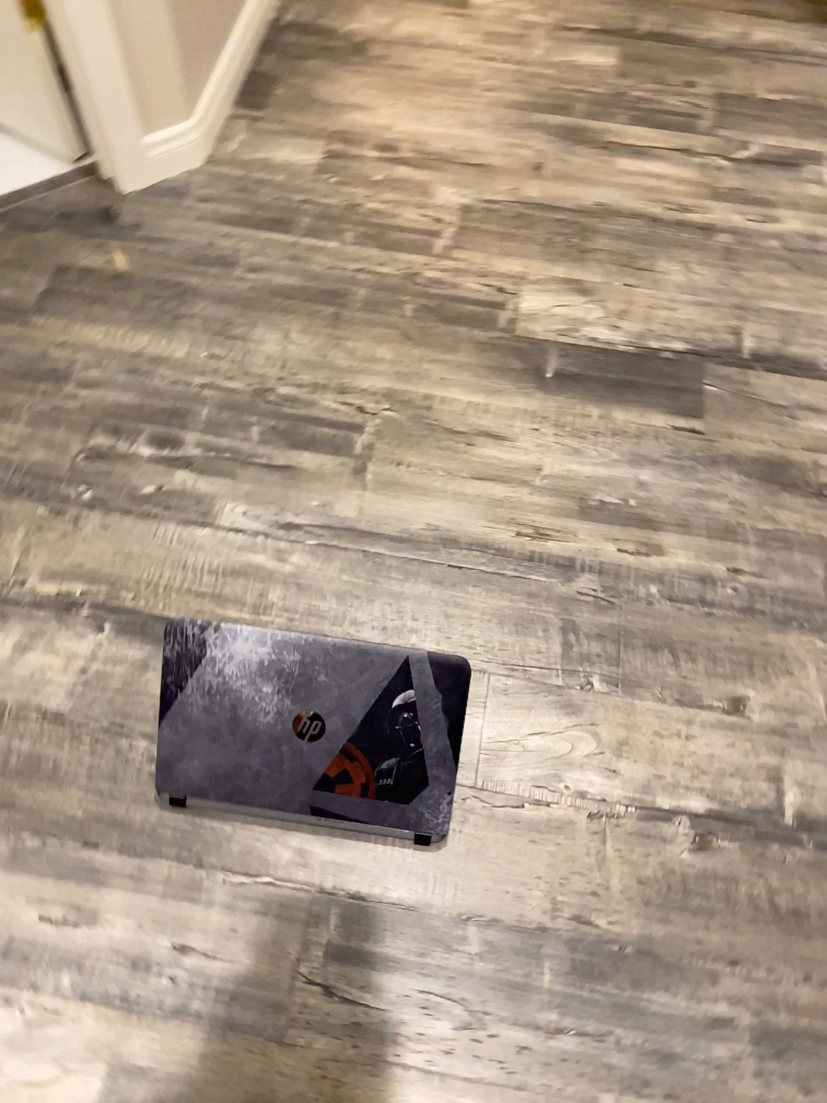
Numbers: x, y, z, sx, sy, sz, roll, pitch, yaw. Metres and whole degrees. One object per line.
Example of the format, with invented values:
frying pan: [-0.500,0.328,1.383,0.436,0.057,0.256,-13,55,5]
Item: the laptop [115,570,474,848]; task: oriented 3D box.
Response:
laptop: [-0.131,0.200,1.063,0.374,0.177,0.251,8,60,2]
